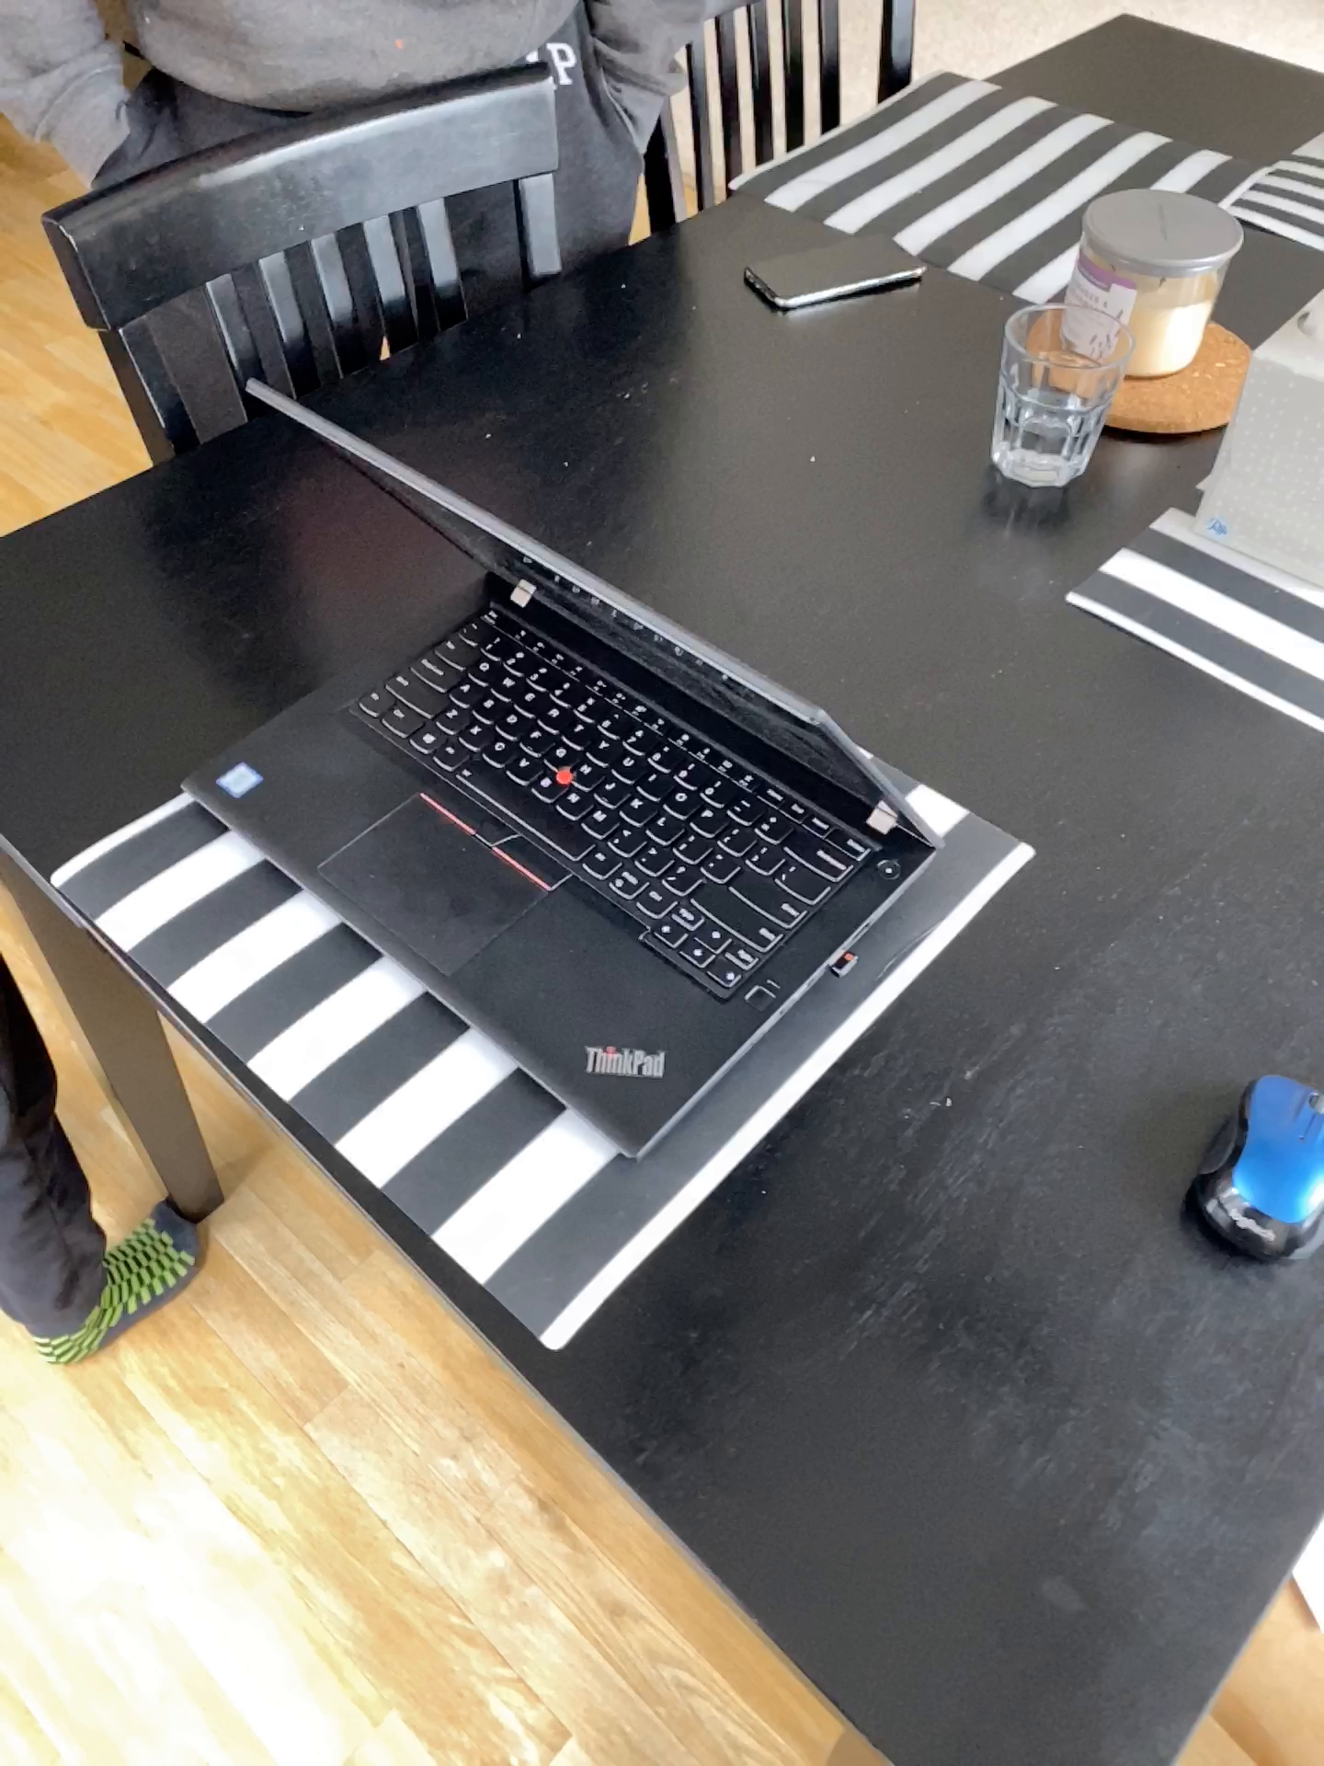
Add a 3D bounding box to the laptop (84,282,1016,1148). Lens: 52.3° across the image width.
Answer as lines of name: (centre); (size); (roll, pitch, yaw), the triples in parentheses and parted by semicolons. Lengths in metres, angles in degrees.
laptop: (-0.052, -0.094, 0.616); (0.321, 0.175, 0.220); (35, 58, 25)
